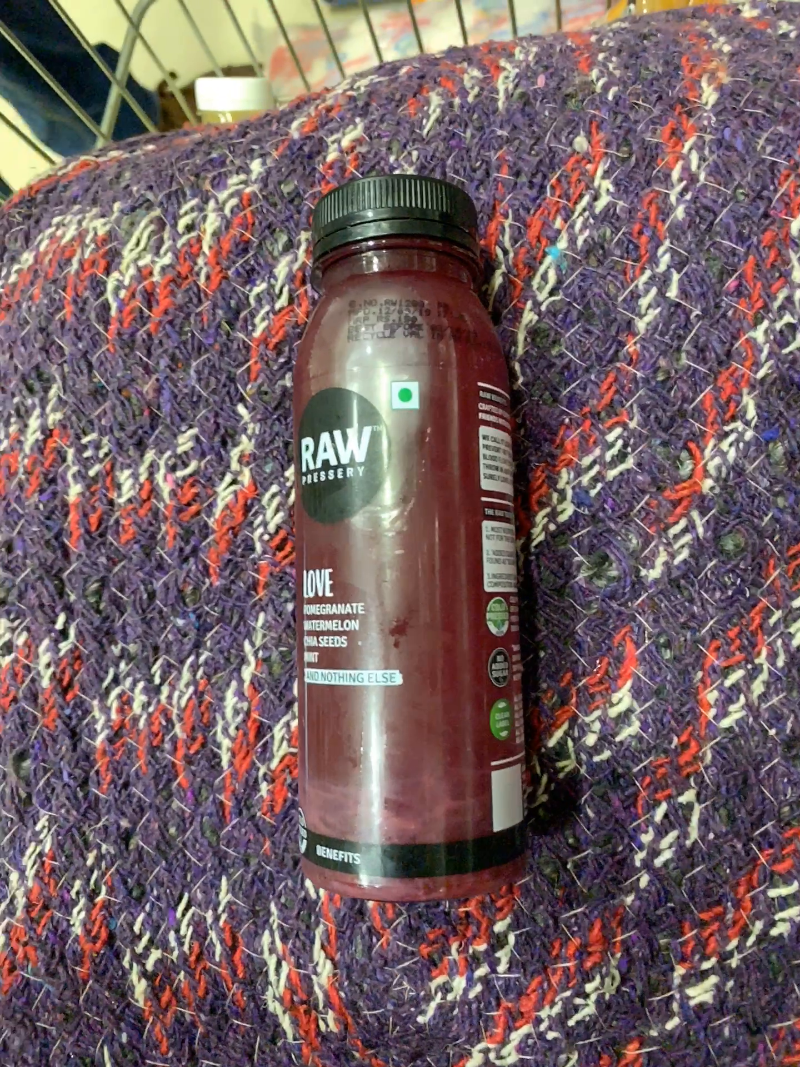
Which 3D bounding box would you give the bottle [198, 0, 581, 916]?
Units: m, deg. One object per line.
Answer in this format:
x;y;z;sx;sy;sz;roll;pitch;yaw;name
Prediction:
-0.002;-0.015;0.192;0.060;0.060;0.170;-6;82;36;bottle
